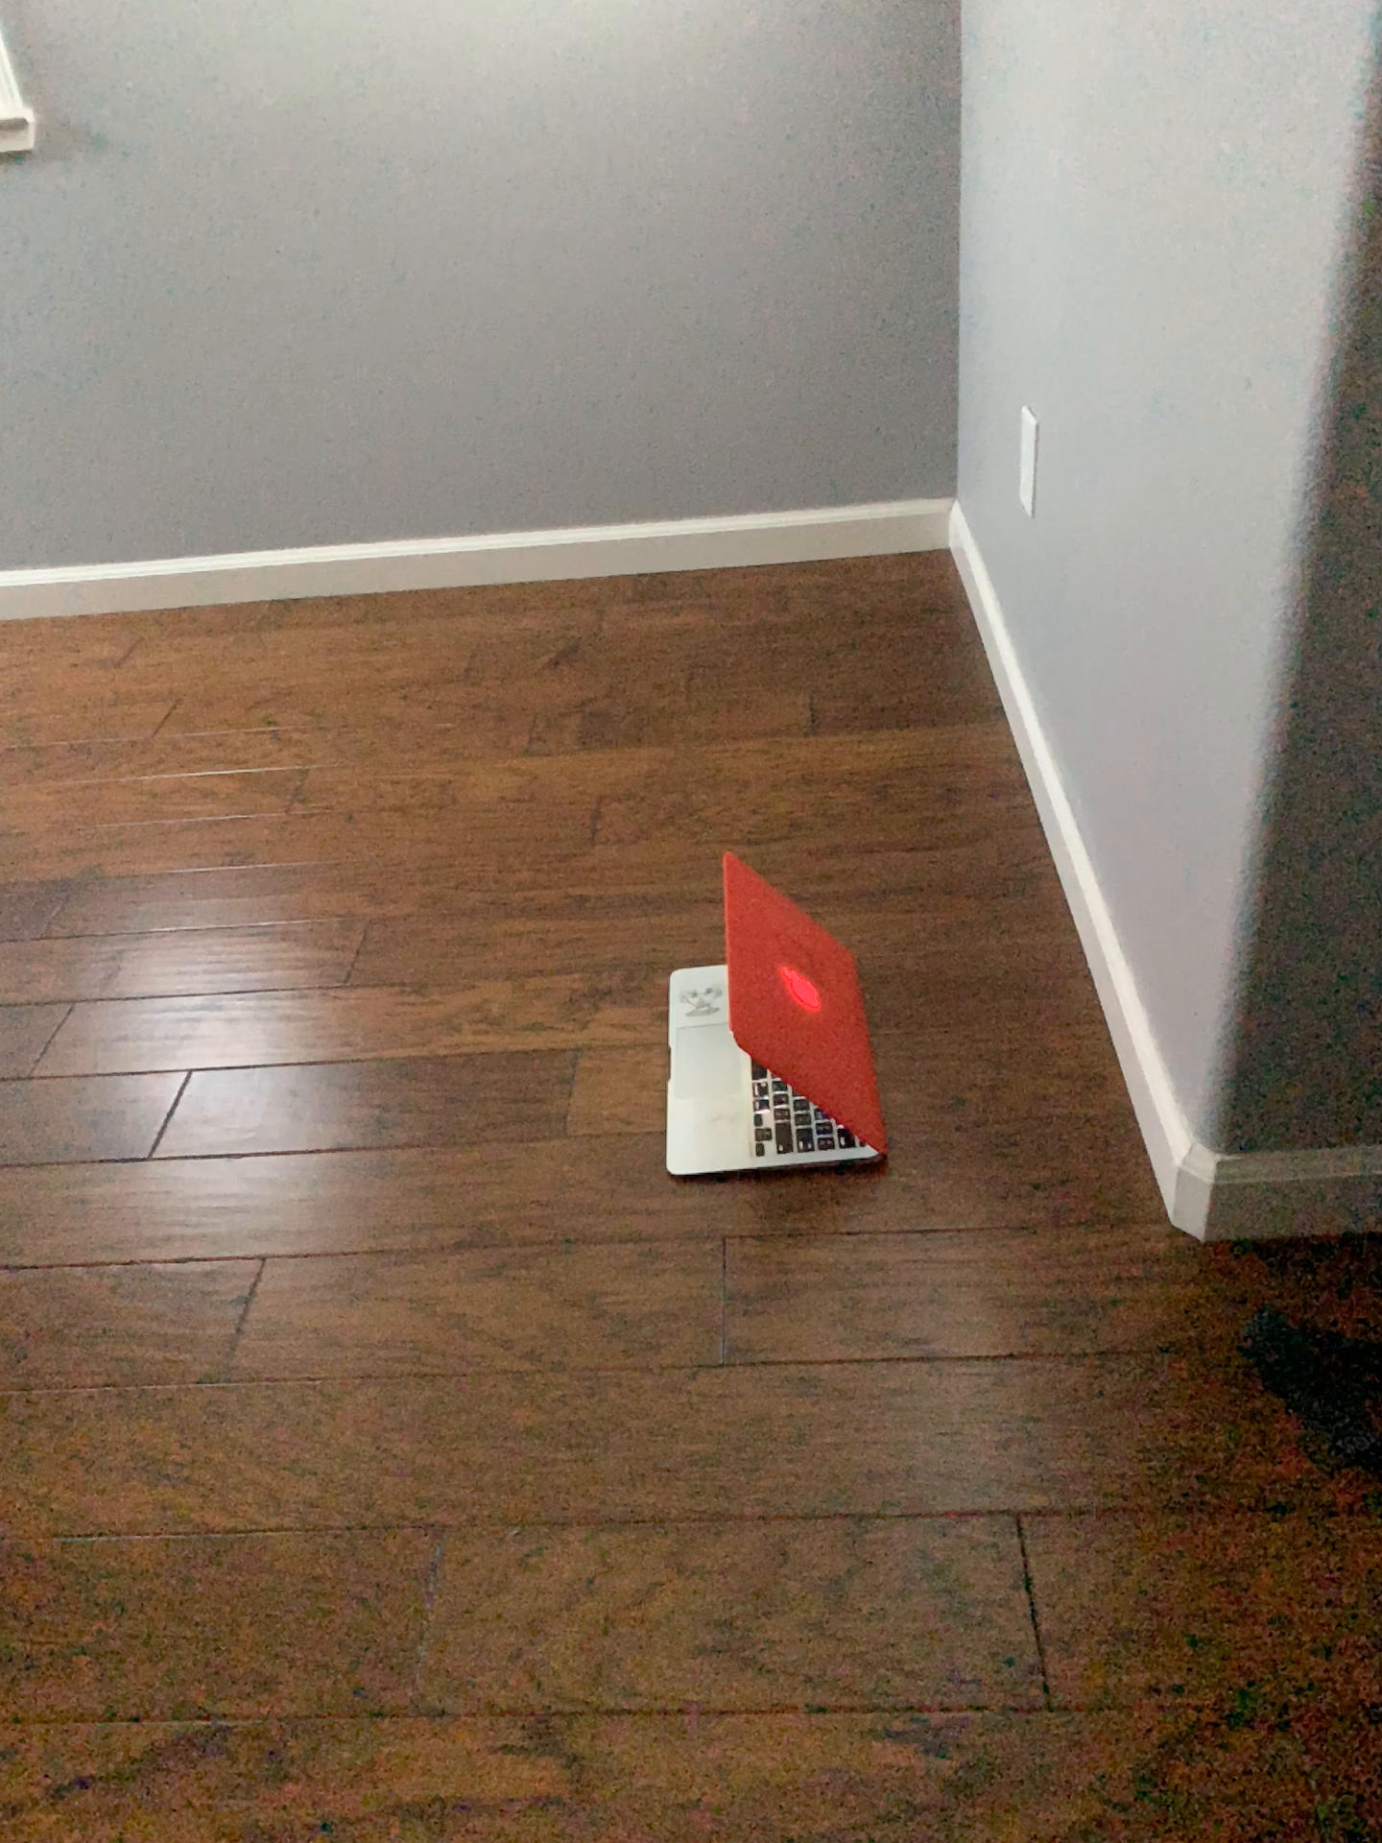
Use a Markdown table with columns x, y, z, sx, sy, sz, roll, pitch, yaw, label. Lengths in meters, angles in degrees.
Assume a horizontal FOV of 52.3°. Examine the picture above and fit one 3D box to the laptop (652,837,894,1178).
| x | y | z | sx | sy | sz | roll | pitch | yaw | label |
| --- | --- | --- | --- | --- | --- | --- | --- | --- | --- |
| 0.073 | 0.071 | 1.315 | 0.197 | 0.139 | 0.303 | -5 | 35 | 4 | laptop |
